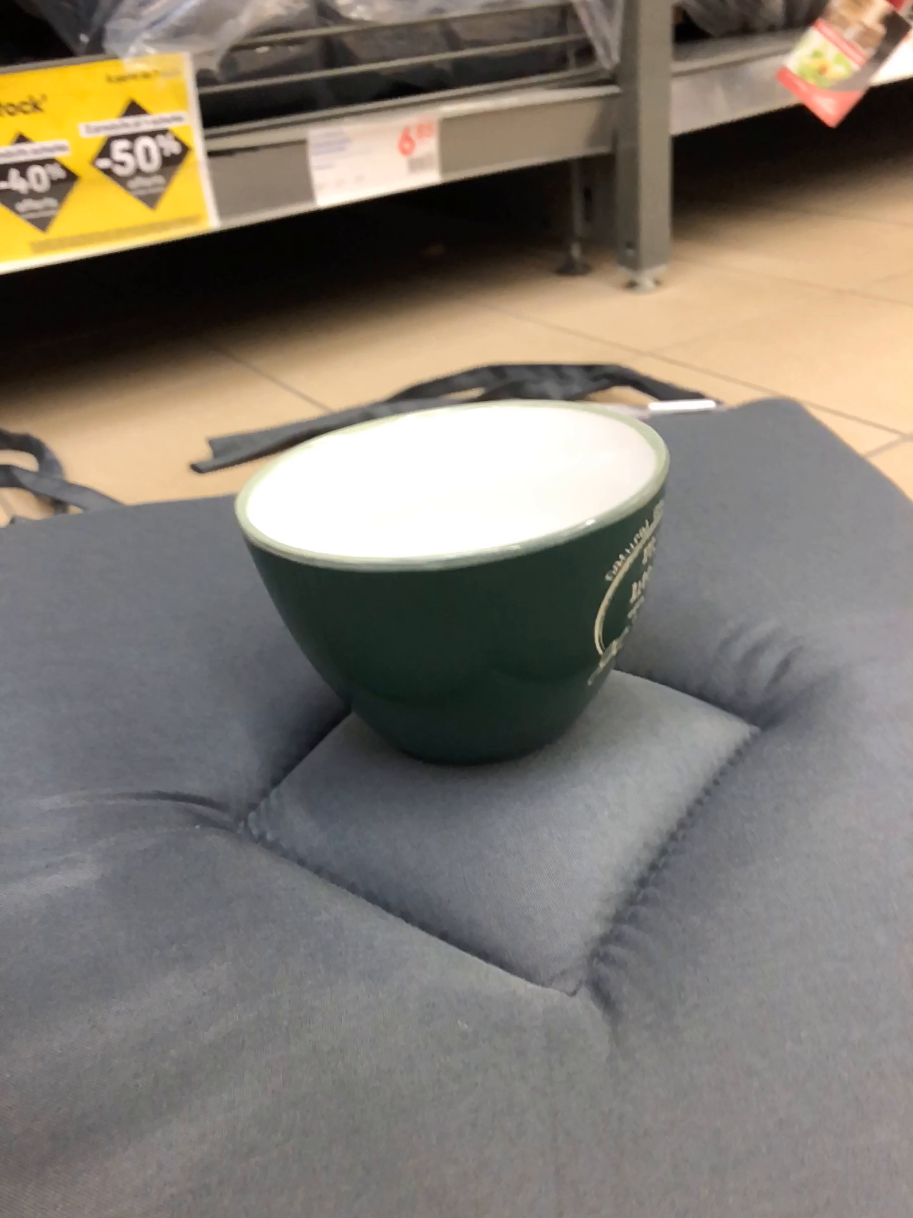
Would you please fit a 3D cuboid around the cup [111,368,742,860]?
[{"bbox_3d":[0.002,-0.013,0.283,0.120,0.060,0.131,-4,31,3],"label":"cup"}]
